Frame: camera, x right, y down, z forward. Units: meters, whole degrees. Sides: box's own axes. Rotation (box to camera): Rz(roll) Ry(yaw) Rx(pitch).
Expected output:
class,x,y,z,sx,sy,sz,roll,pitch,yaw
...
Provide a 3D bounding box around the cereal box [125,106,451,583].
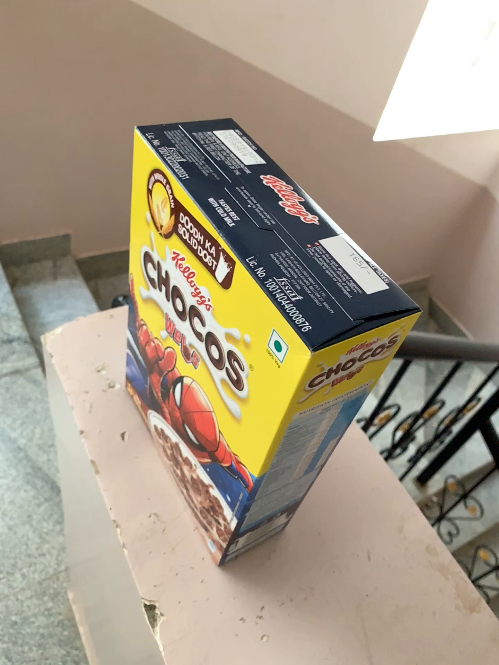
class,x,y,z,sx,sy,sz,roll,pitch,yaw
cereal box,-0.013,0.018,0.343,0.070,0.248,0.191,-16,54,-27
